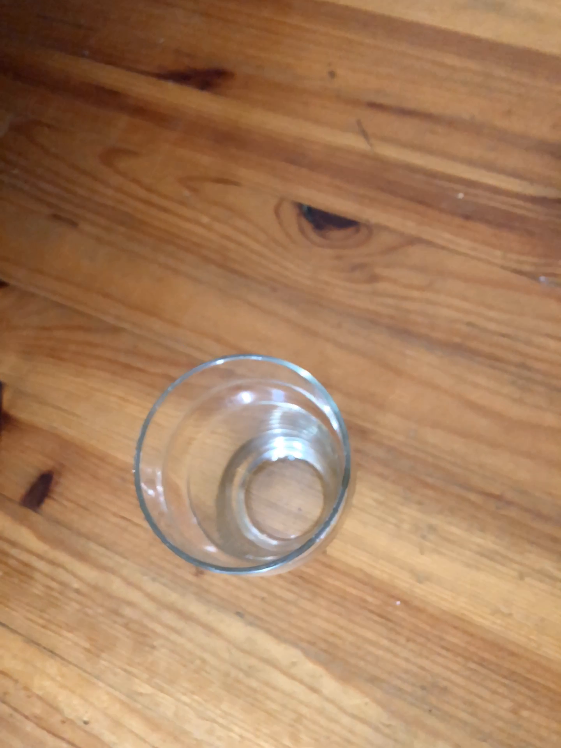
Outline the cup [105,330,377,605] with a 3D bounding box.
[{"bbox_3d":[-0.009,0.057,0.336,0.091,0.152,0.095,-1,73,5],"label":"cup"}]
